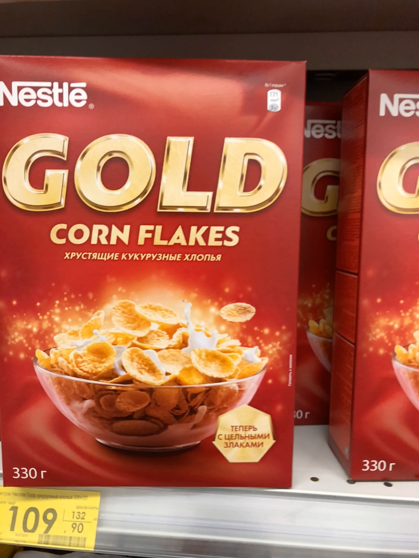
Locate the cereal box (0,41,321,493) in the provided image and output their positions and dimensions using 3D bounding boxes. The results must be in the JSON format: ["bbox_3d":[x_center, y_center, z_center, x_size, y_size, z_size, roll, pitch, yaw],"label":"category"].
[{"bbox_3d":[-0.037,-0.002,0.318,0.200,0.279,0.060,1,8,-1],"label":"cereal box"}]
